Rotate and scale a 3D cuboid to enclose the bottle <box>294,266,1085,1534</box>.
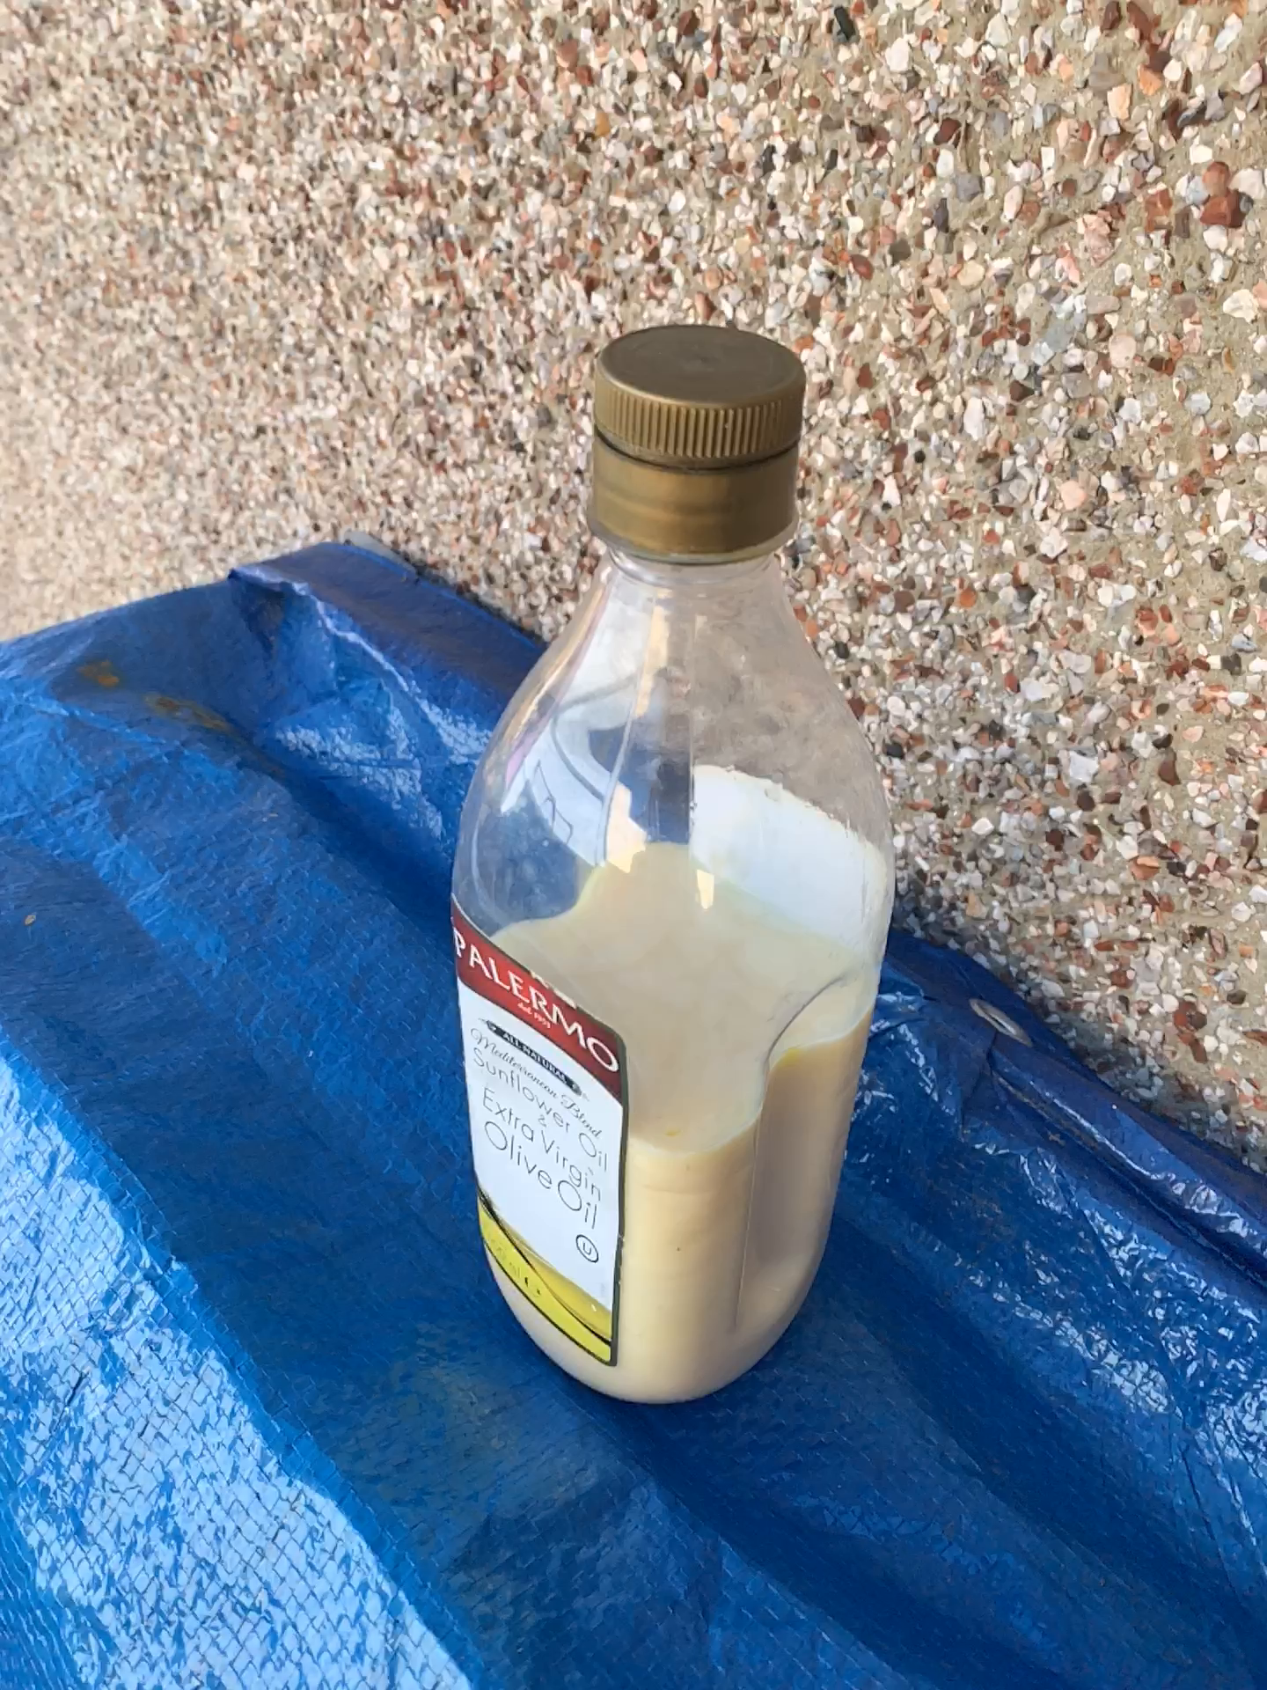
[{"bbox_3d":[0.009,0.026,0.262,0.080,0.238,0.080,-1,39,1],"label":"bottle"}]
